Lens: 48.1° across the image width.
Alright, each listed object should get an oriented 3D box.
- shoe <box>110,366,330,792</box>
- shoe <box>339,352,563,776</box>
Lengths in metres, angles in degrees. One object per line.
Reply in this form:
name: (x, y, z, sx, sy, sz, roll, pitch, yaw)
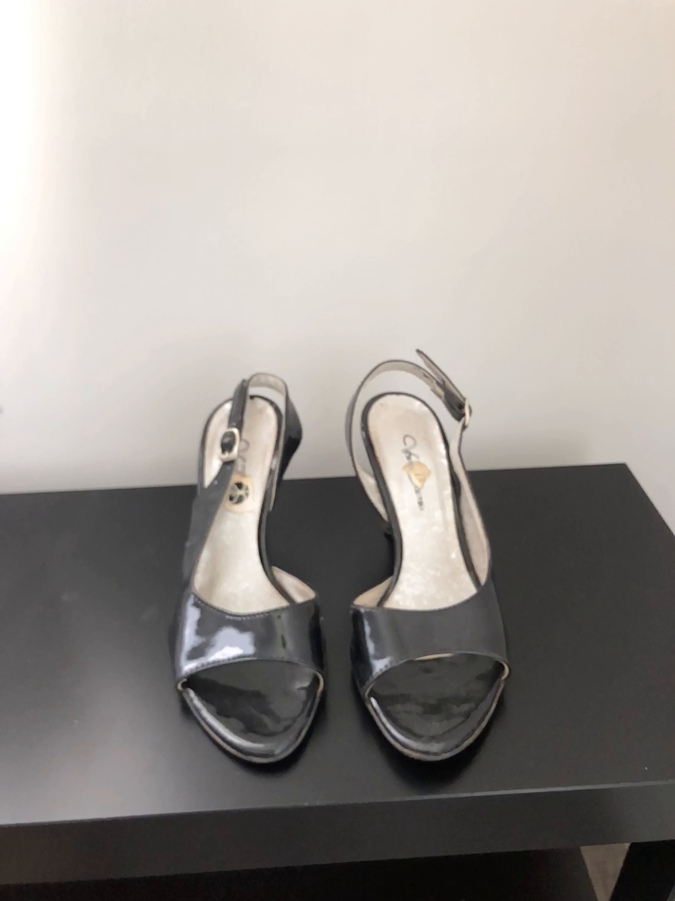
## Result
shoe: (-0.058, 0.053, 0.413, 0.083, 0.110, 0.211, -4, 33, -5)
shoe: (0.043, 0.044, 0.402, 0.083, 0.110, 0.211, -1, 33, 0)
